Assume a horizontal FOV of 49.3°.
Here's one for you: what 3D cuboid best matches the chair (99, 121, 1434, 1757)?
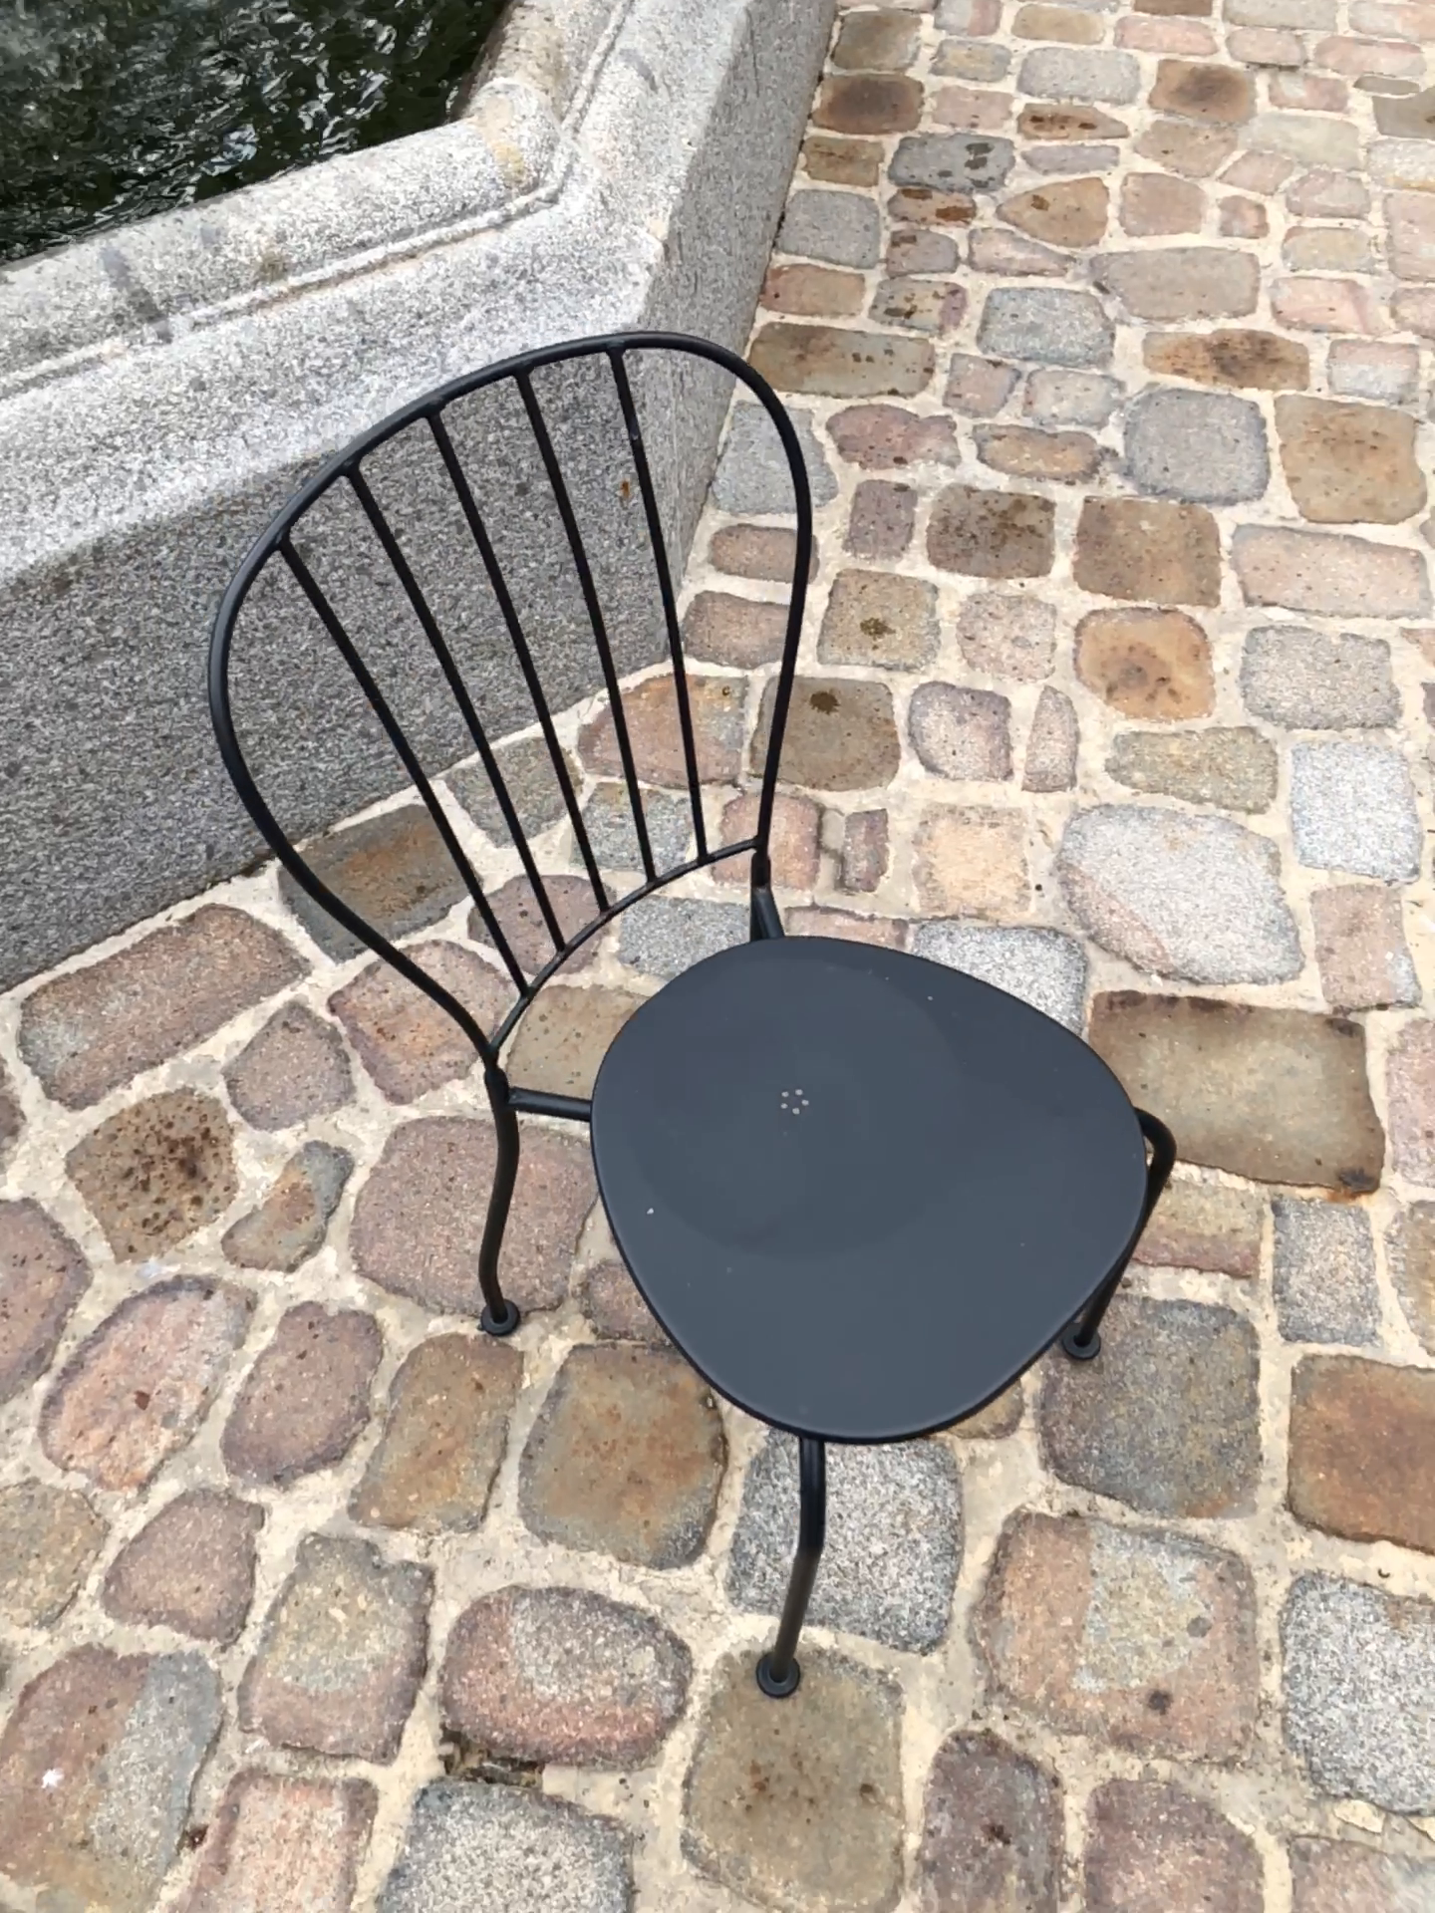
[{"bbox_3d":[0.066,0.058,0.941,0.422,0.796,0.470,-37,61,-23],"label":"chair"}]
